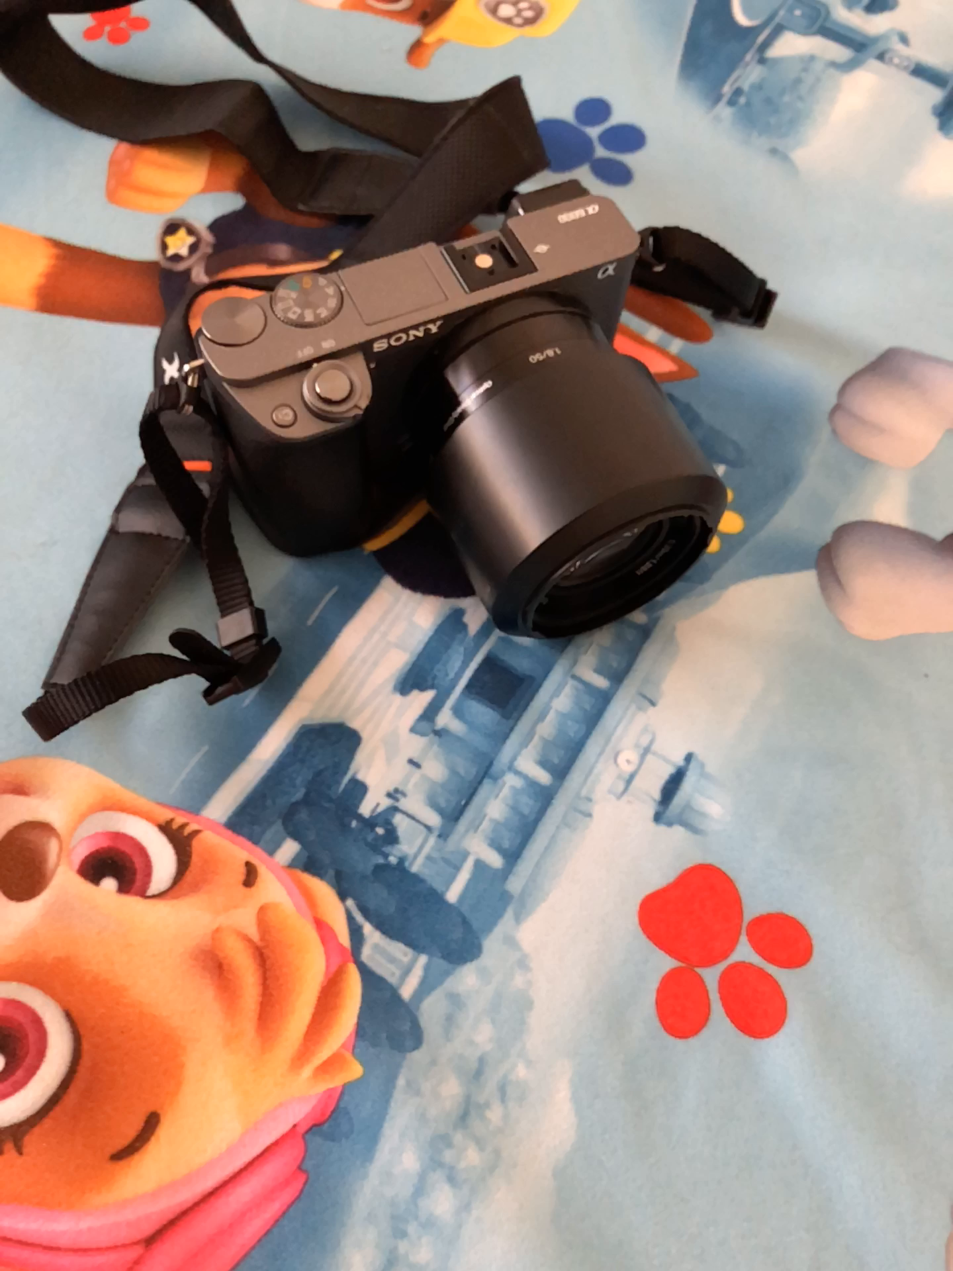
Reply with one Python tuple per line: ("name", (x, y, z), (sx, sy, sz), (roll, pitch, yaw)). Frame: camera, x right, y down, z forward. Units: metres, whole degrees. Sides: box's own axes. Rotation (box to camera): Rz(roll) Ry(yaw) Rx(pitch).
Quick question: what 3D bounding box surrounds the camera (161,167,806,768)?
("camera", (-0.002, -0.049, 0.307), (0.130, 0.080, 0.110), (-22, 65, -13))
